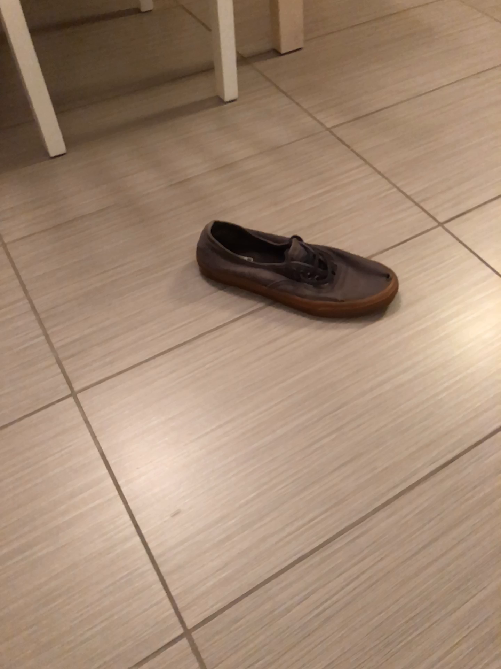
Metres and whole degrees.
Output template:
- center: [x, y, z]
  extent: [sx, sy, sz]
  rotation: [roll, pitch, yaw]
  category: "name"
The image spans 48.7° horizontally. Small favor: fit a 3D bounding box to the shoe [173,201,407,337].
- center: [0.053, -0.094, 0.755]
  extent: [0.290, 0.060, 0.111]
  rotation: [15, 54, 12]
  category: "shoe"
